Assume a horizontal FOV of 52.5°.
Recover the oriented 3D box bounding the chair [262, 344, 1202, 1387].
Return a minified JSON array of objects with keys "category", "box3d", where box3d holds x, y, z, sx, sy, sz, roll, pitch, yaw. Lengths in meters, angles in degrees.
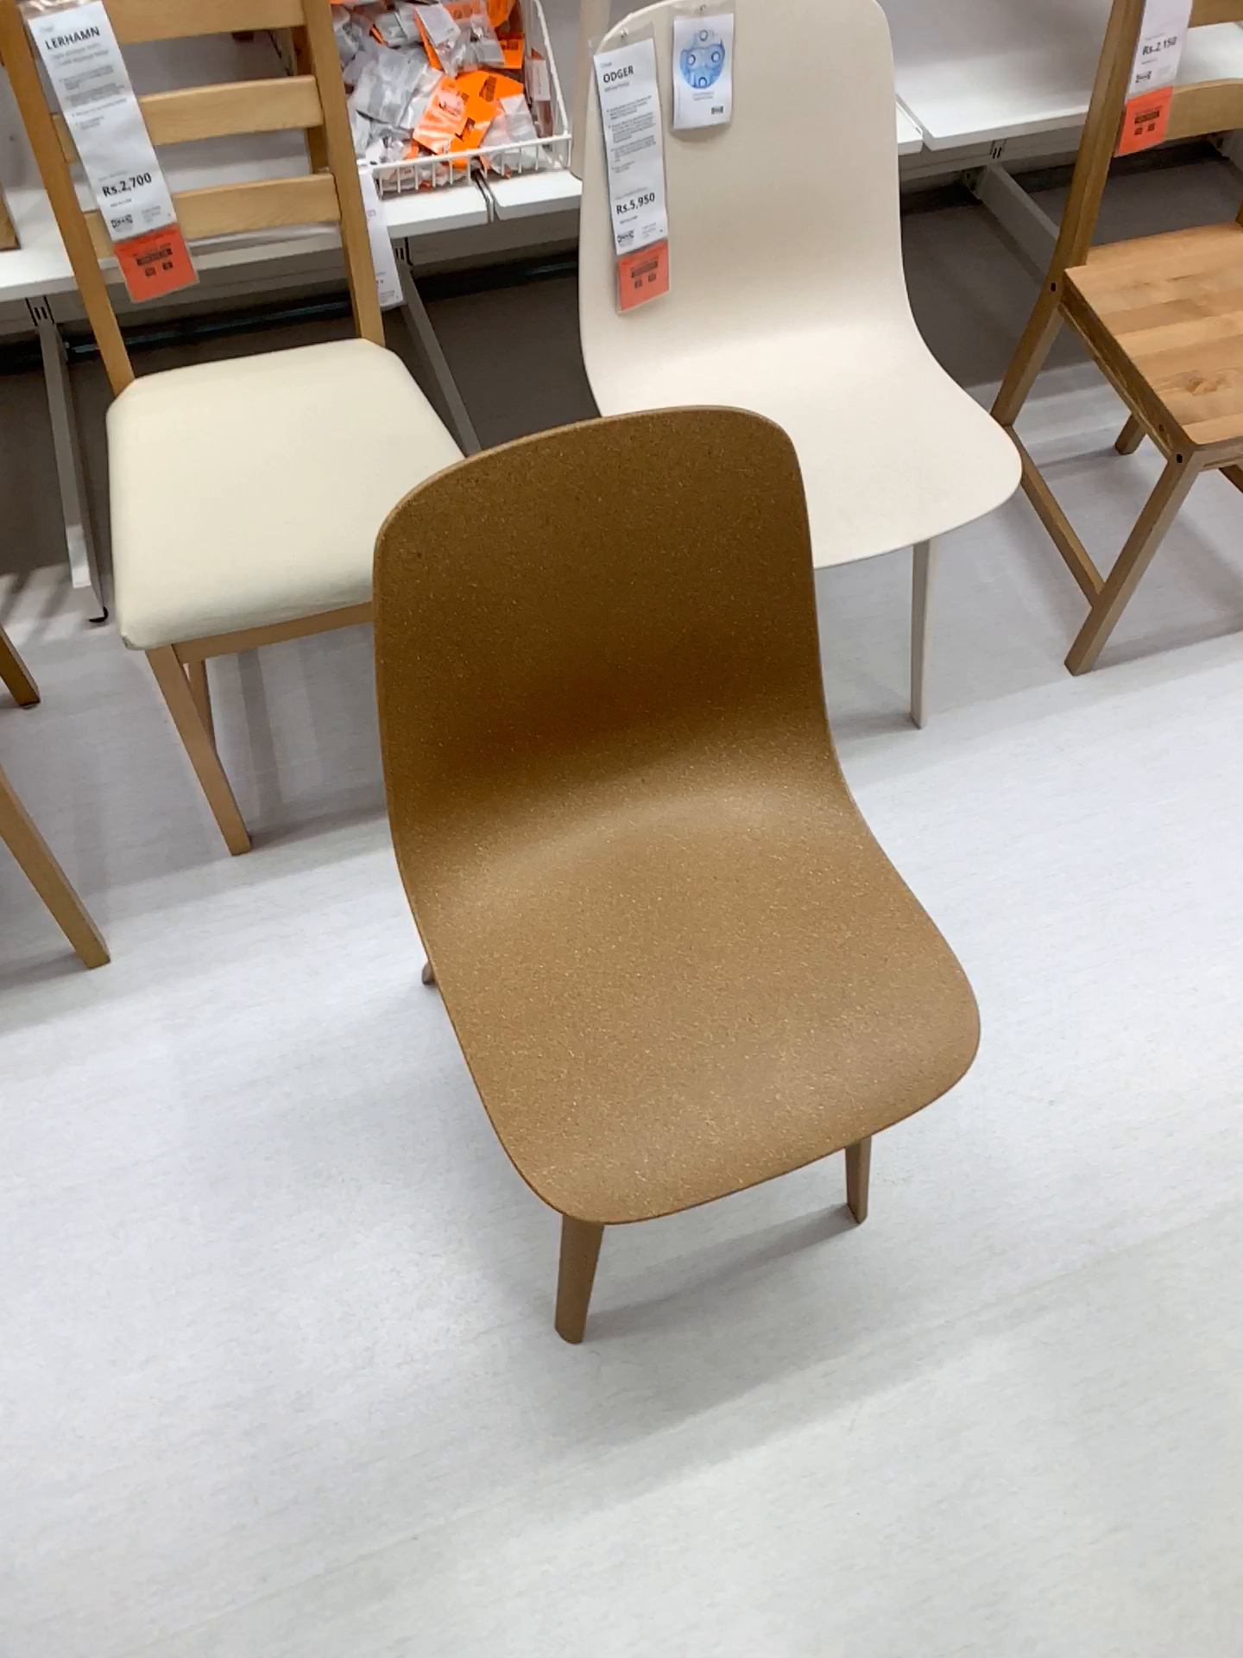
[{"category":"chair","box3d":[0.026,0.084,1.187,0.460,0.758,0.561,-17,59,-14]}]
